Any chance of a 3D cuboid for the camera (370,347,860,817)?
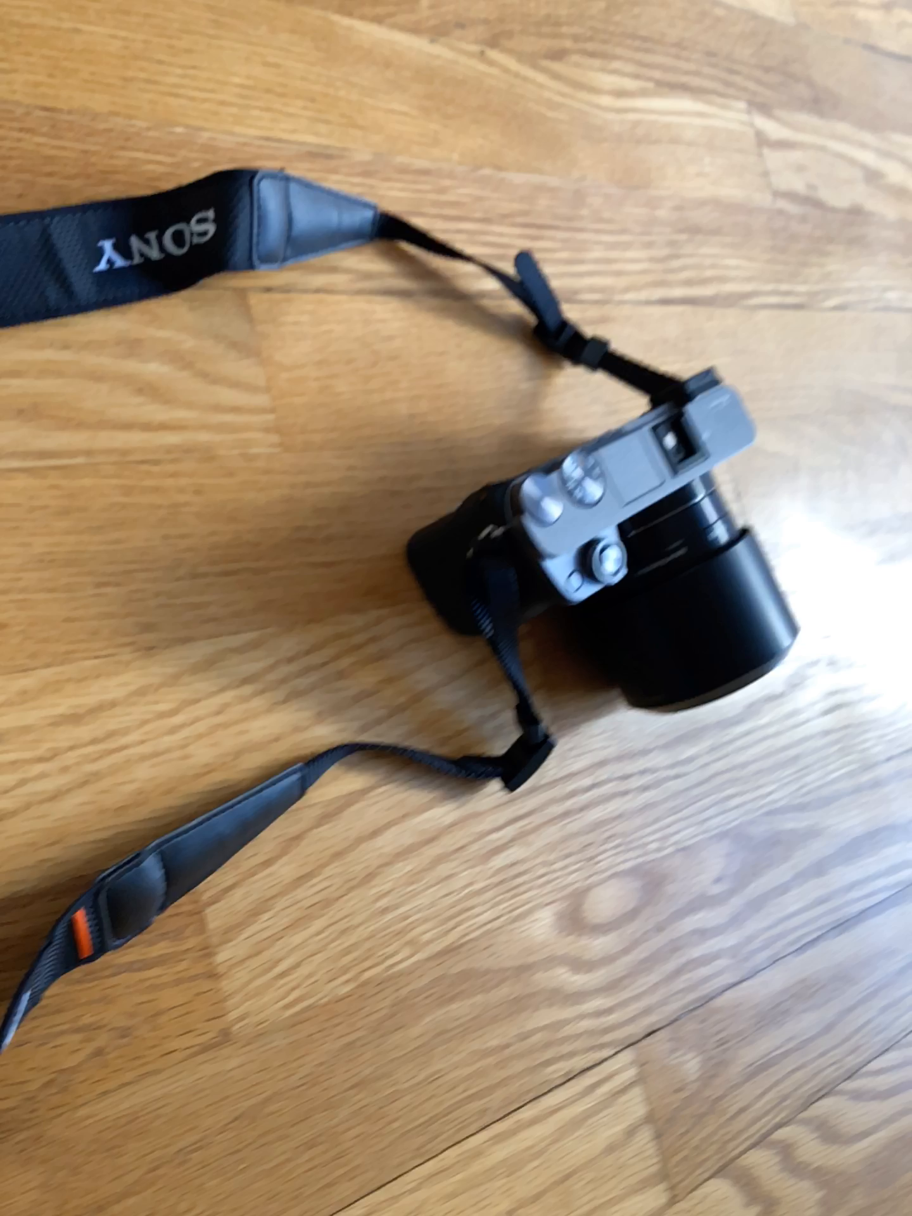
[{"bbox_3d":[0.062,-0.012,0.361,0.141,0.060,0.110,-31,96,-35],"label":"camera"}]
